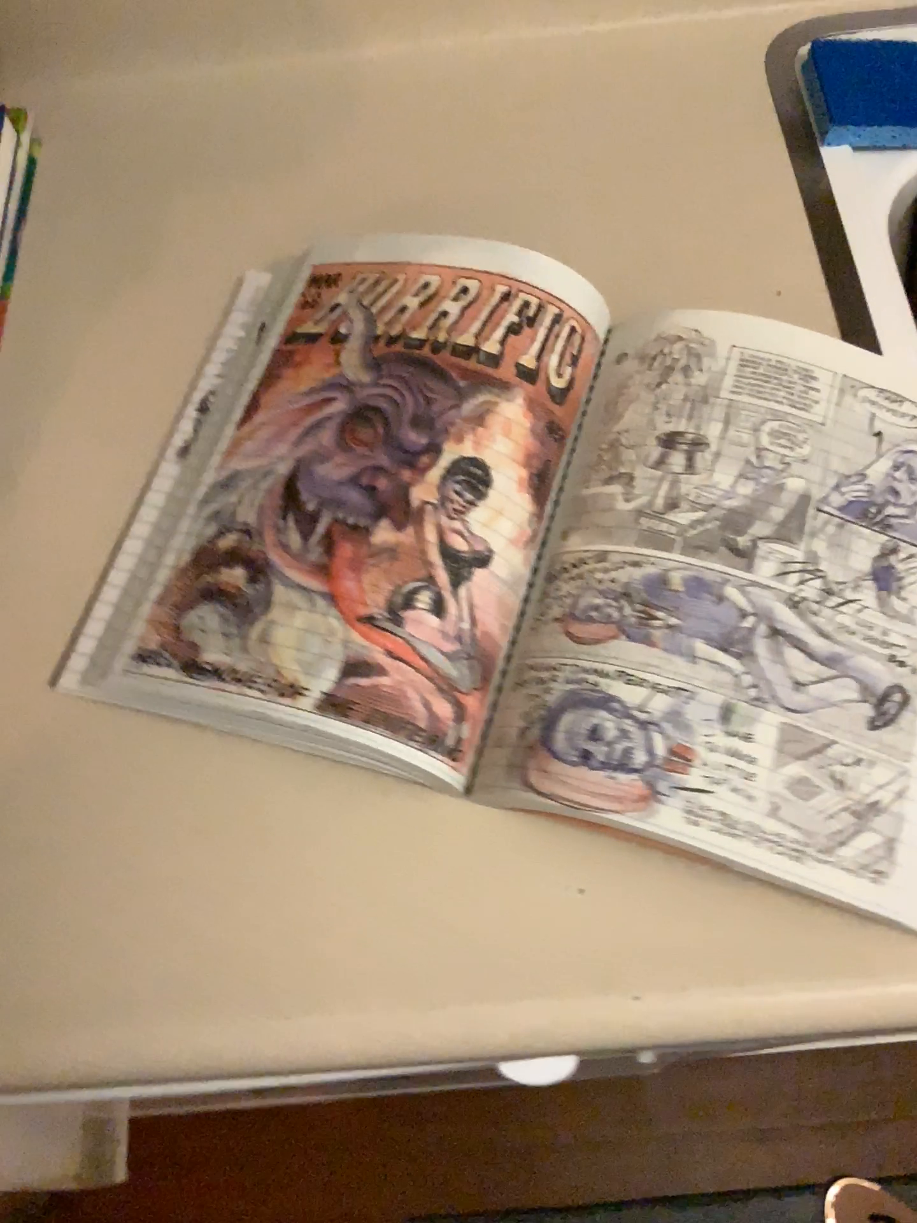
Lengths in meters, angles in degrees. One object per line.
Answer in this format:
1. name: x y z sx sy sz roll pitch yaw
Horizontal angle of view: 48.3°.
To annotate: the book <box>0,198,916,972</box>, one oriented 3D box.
1. book: 0.042 -0.040 0.480 0.430 0.050 0.280 14 67 11
